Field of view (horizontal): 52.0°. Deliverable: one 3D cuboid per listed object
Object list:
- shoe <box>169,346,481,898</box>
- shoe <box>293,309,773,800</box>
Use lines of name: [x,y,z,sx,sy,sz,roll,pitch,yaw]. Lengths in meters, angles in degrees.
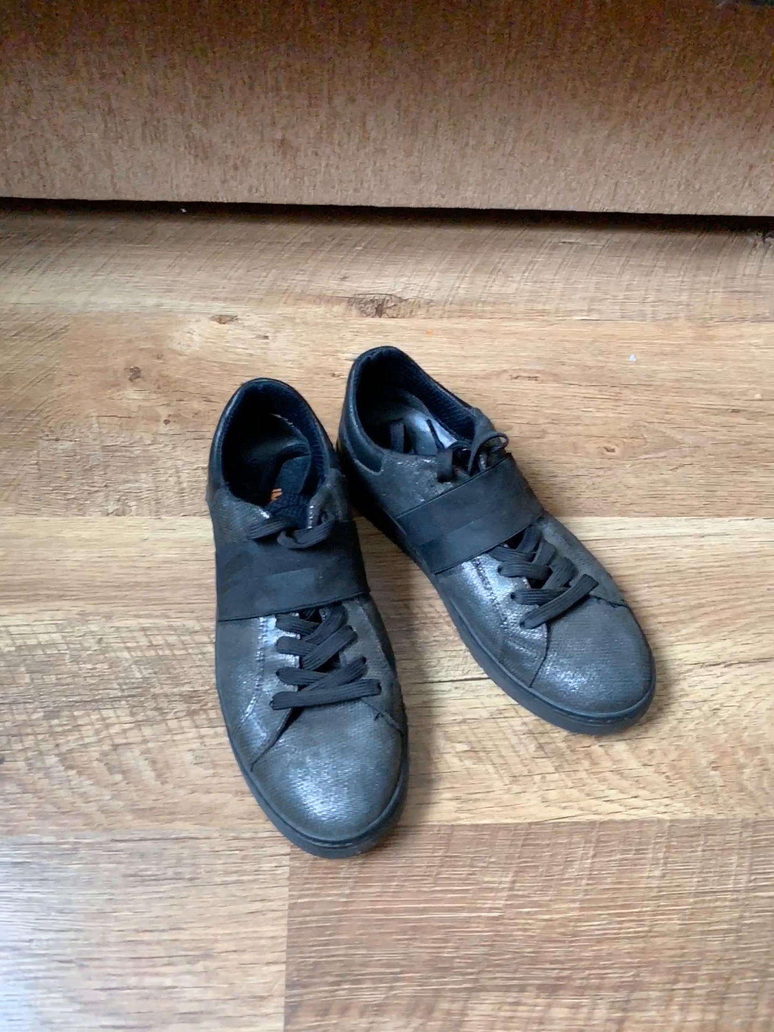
shoe: [-0.044,0.040,0.414,0.100,0.090,0.261,-10,55,-10]
shoe: [0.062,0.009,0.446,0.100,0.090,0.261,-30,61,-22]
